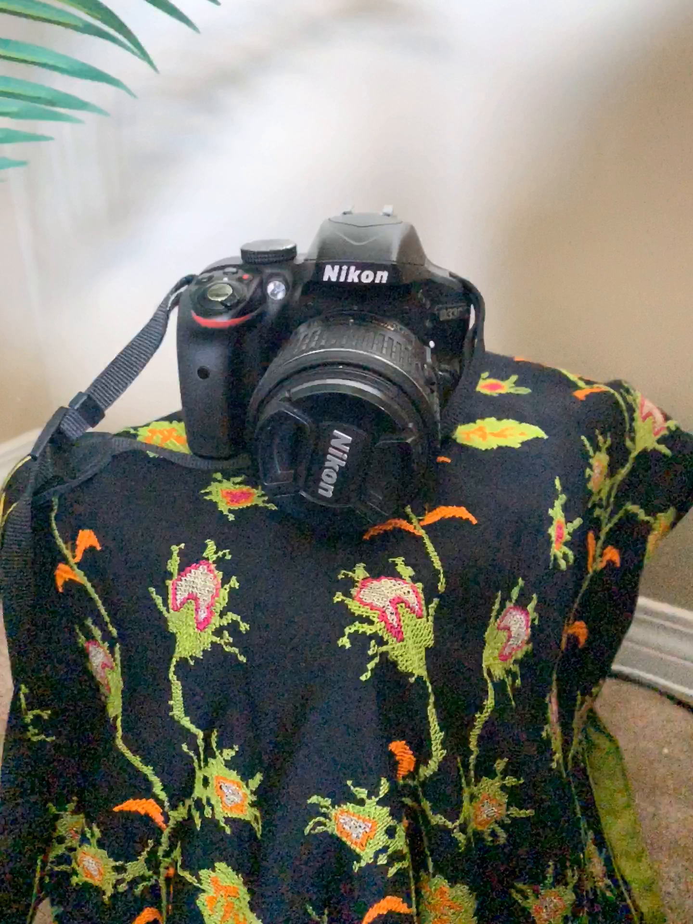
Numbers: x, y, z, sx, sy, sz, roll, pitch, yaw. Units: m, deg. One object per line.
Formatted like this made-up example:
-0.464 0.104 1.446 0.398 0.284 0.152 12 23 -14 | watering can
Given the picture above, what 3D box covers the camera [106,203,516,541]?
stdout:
-0.009 -0.039 0.273 0.120 0.099 0.091 2 26 3 | camera
